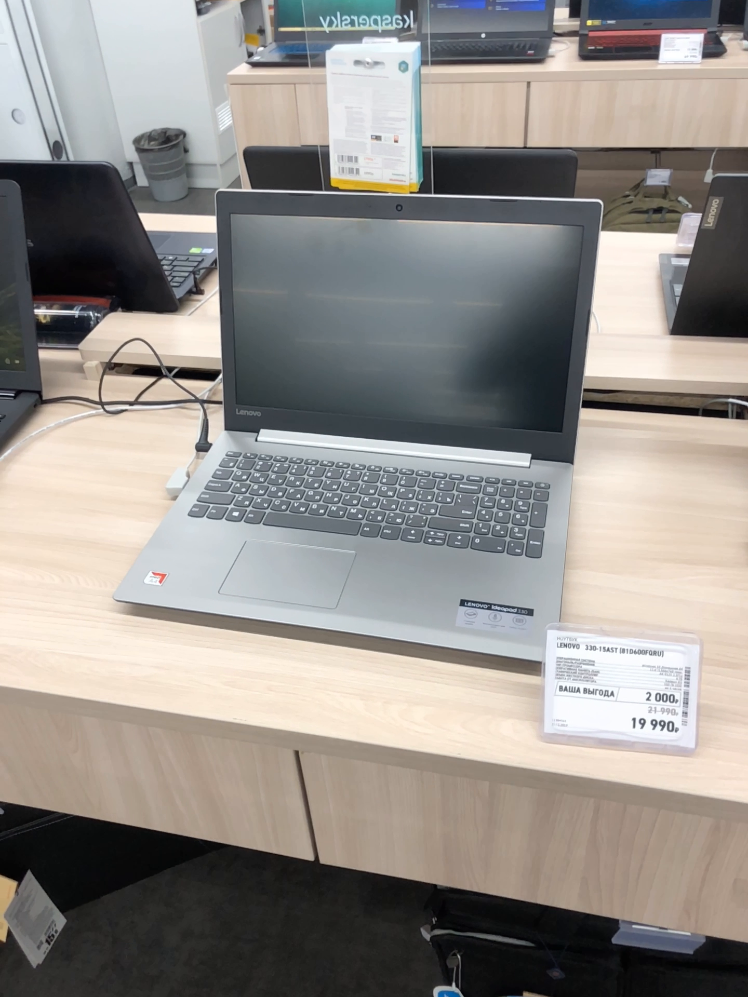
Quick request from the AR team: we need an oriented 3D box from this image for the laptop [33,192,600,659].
[{"bbox_3d":[-0.009,-0.094,0.740,0.380,0.235,0.345,6,39,13],"label":"laptop"}]
